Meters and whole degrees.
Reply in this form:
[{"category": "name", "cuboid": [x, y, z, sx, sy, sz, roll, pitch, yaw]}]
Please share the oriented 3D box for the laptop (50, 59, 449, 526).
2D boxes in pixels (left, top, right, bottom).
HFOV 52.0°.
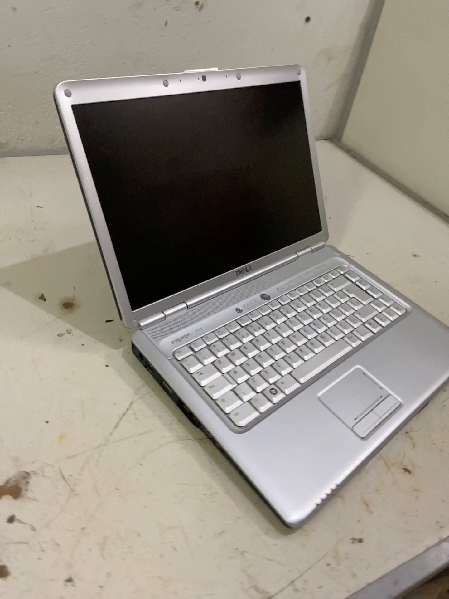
[{"category": "laptop", "cuboid": [0.077, -0.072, 0.494, 0.350, 0.208, 0.378, -25, 54, -36]}]
